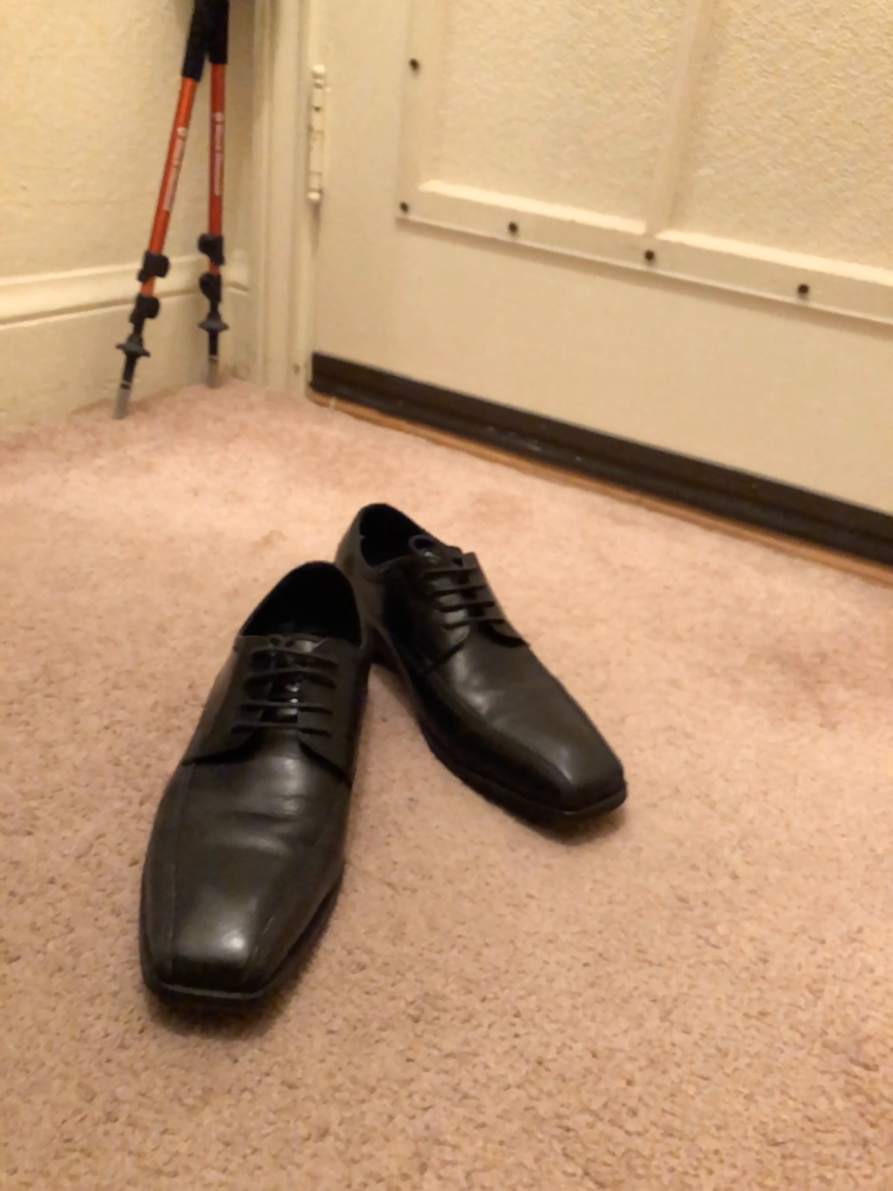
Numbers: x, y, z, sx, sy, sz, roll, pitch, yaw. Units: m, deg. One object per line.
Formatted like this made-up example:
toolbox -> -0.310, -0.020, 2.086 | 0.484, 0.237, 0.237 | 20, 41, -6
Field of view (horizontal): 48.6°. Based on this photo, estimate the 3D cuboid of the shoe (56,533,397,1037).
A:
shoe -> -0.101, 0.080, 0.552 | 0.110, 0.107, 0.285 | 7, 29, 0

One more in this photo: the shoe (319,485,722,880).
shoe -> 0.030, 0.038, 0.684 | 0.115, 0.110, 0.297 | -11, 34, -30
